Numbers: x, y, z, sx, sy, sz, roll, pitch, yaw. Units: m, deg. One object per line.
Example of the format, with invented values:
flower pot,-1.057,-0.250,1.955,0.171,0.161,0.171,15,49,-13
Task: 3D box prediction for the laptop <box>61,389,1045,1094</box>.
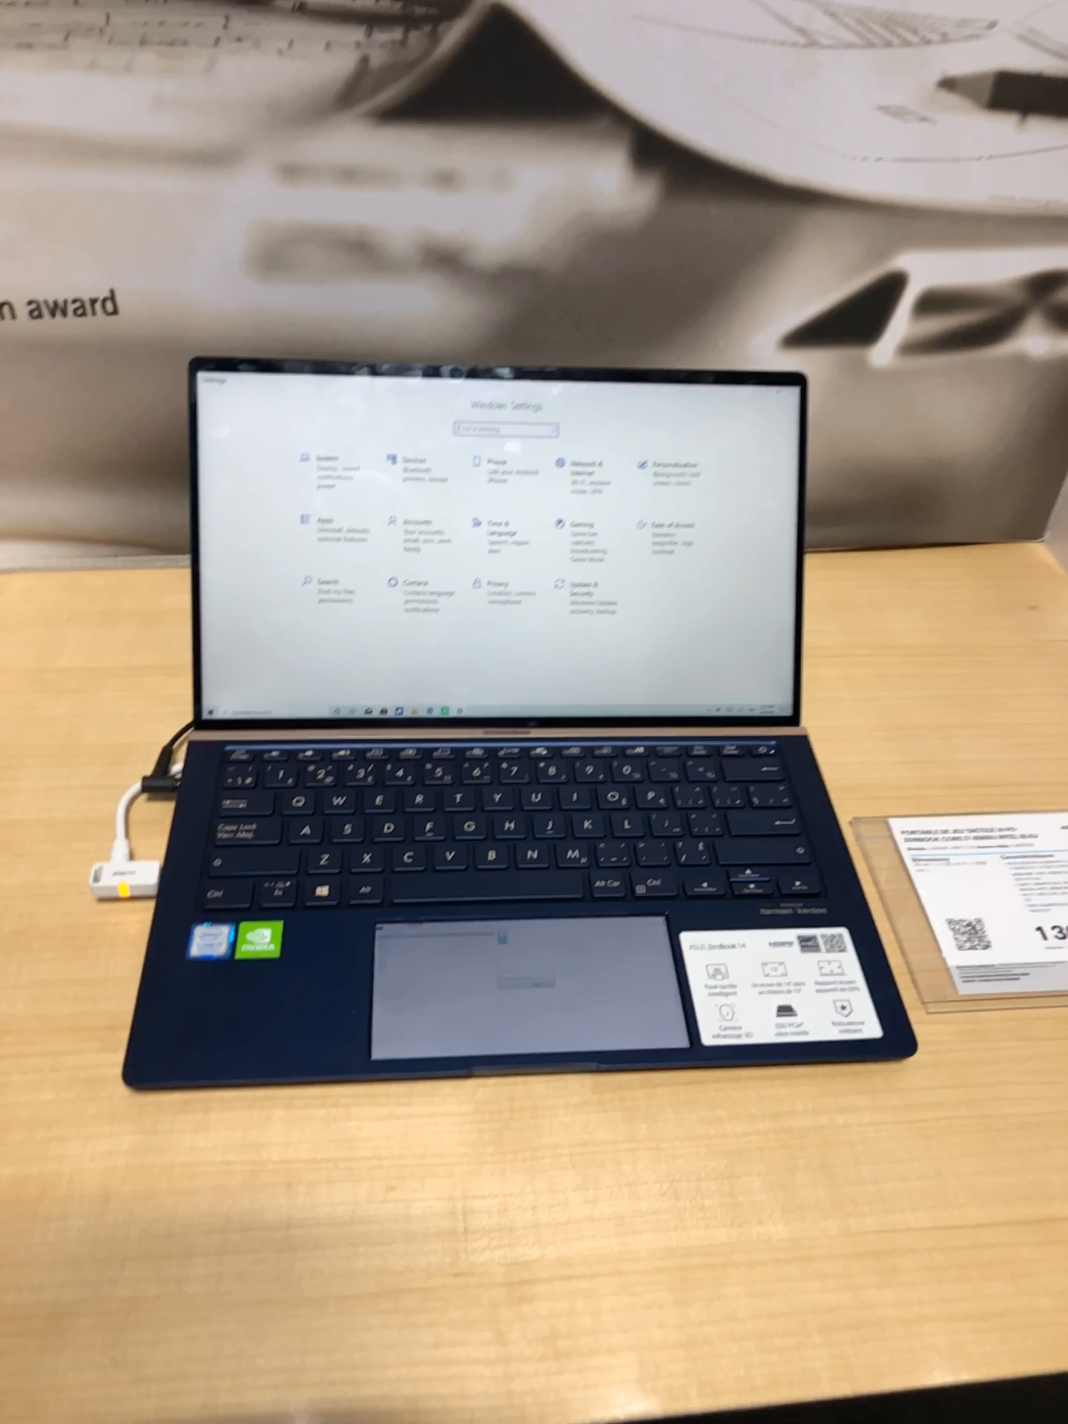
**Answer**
laptop,0.000,-0.013,0.567,0.332,0.159,0.322,-1,40,-6
